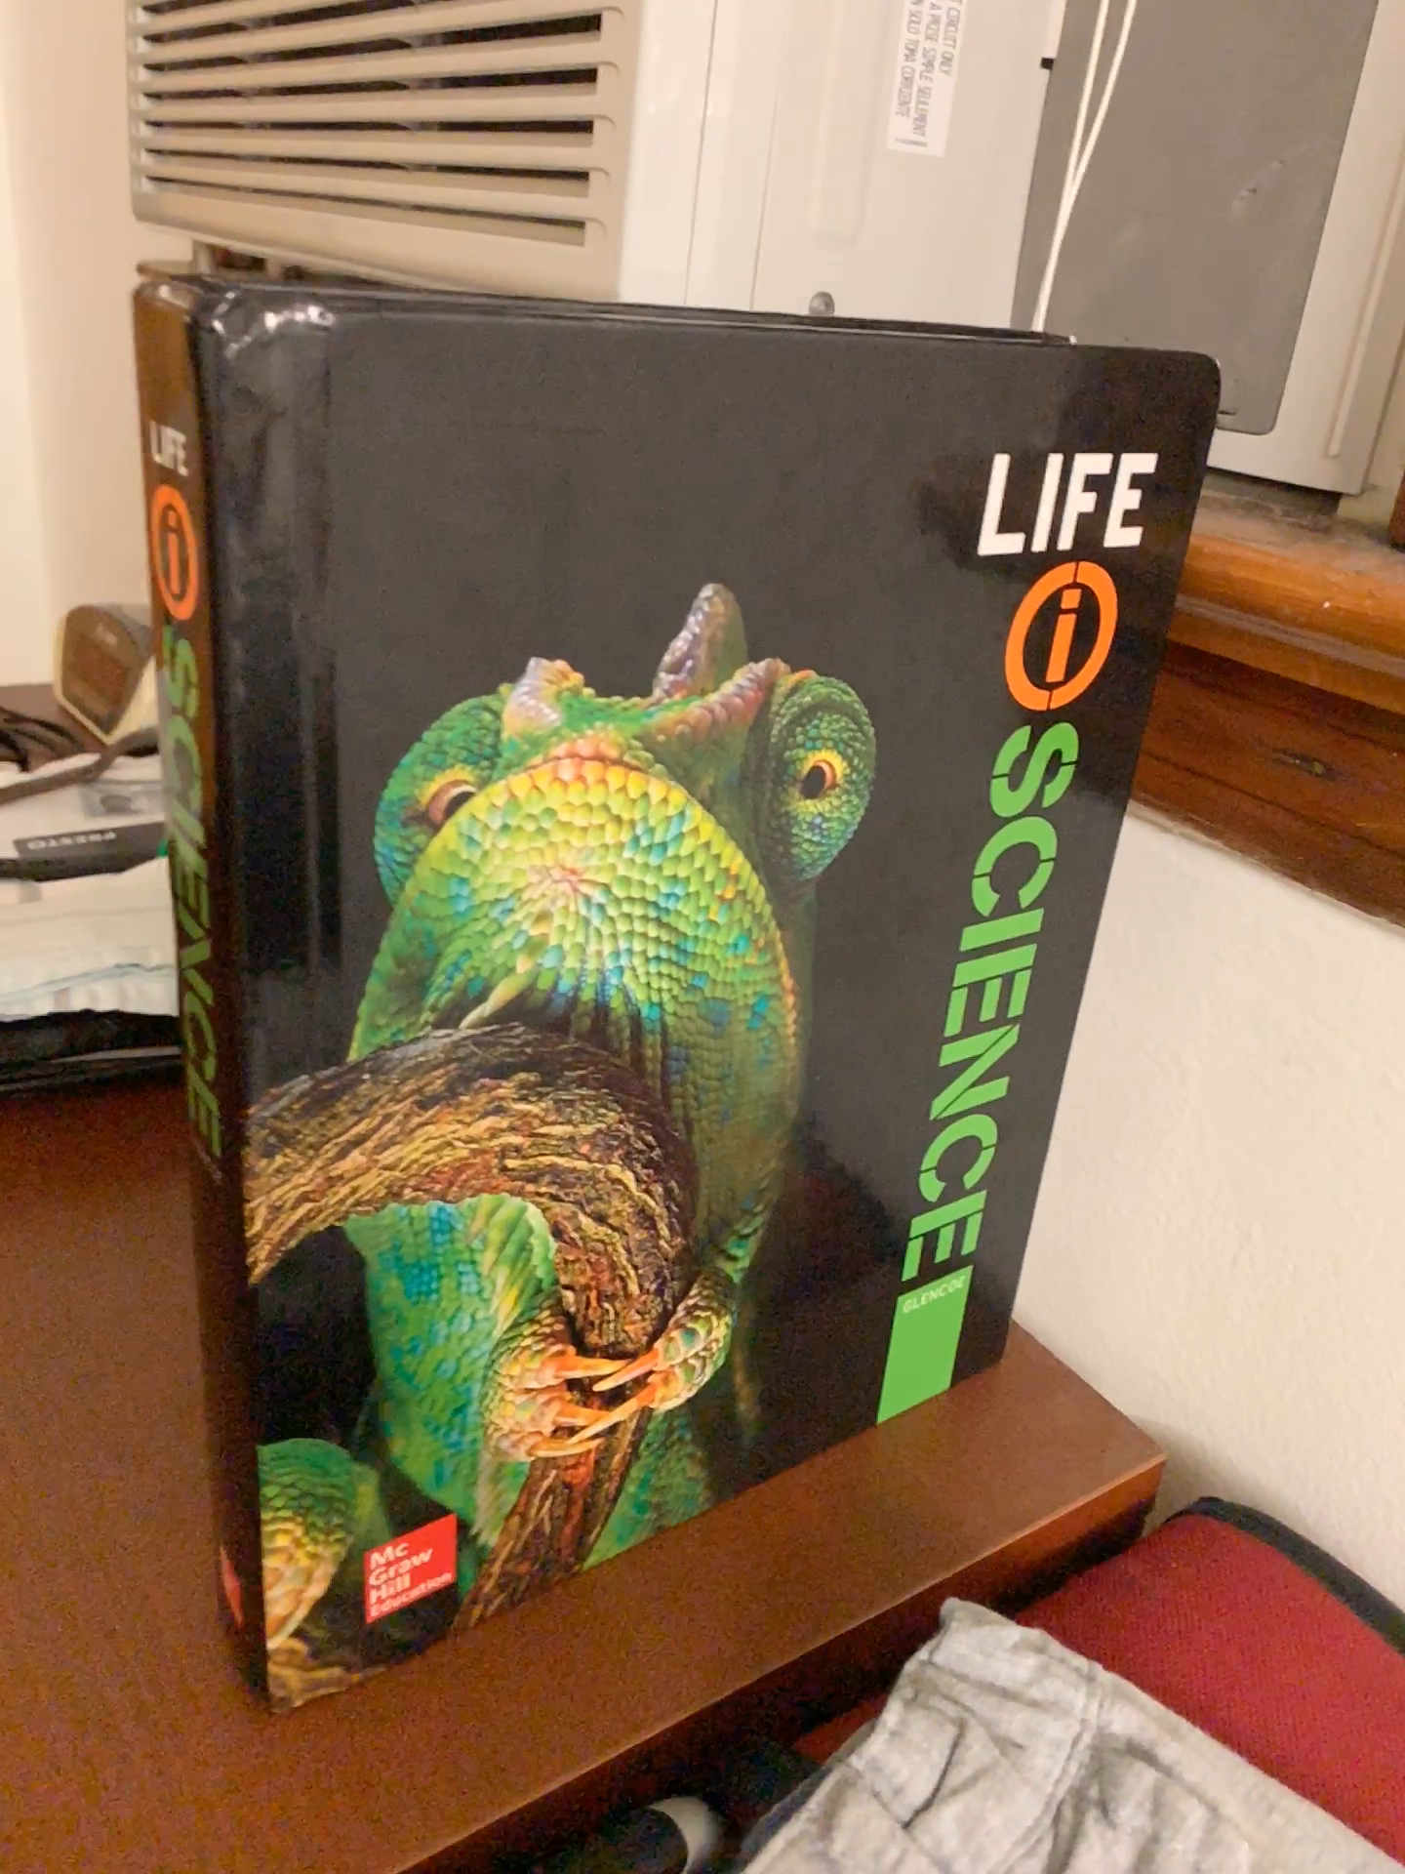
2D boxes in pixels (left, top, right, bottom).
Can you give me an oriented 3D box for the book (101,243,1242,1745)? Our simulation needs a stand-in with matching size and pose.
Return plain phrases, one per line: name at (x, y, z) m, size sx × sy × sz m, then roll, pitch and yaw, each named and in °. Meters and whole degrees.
book at (-0.002, 0.011, 0.332) m, size 0.227 × 0.286 × 0.051 m, roll -12°, pitch 30°, yaw -35°
